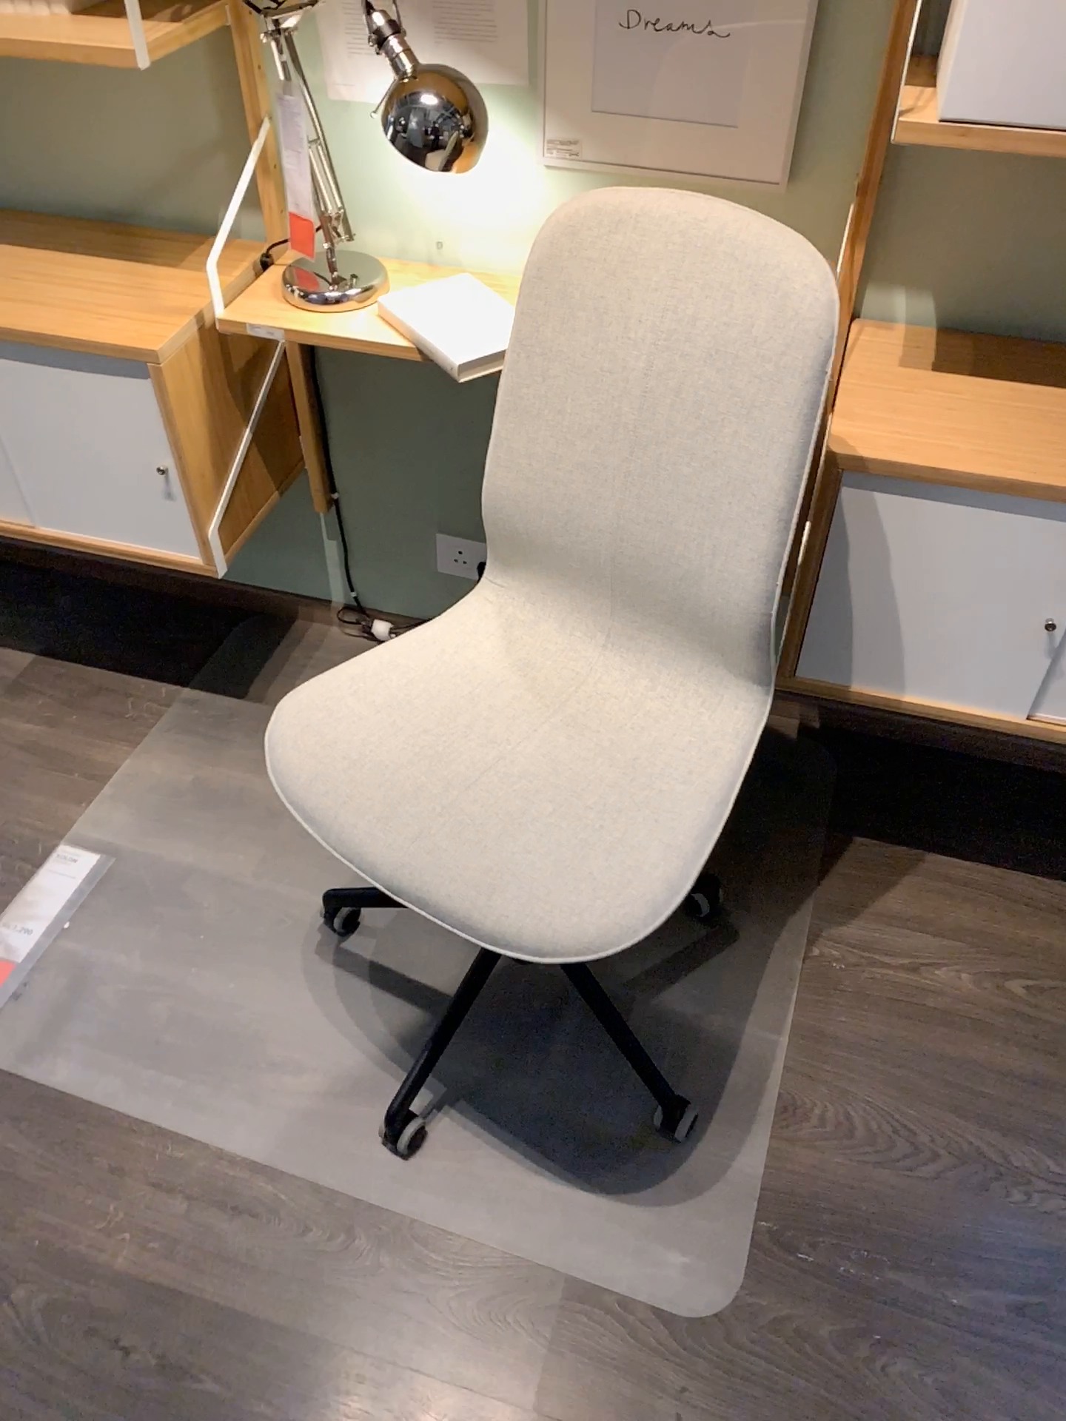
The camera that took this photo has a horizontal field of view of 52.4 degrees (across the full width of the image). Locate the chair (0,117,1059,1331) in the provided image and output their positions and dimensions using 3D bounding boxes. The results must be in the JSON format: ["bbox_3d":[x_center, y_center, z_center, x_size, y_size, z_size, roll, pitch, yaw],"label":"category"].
[{"bbox_3d":[-0.012,0.030,1.230,0.671,1.016,0.672,26,50,24],"label":"chair"}]
